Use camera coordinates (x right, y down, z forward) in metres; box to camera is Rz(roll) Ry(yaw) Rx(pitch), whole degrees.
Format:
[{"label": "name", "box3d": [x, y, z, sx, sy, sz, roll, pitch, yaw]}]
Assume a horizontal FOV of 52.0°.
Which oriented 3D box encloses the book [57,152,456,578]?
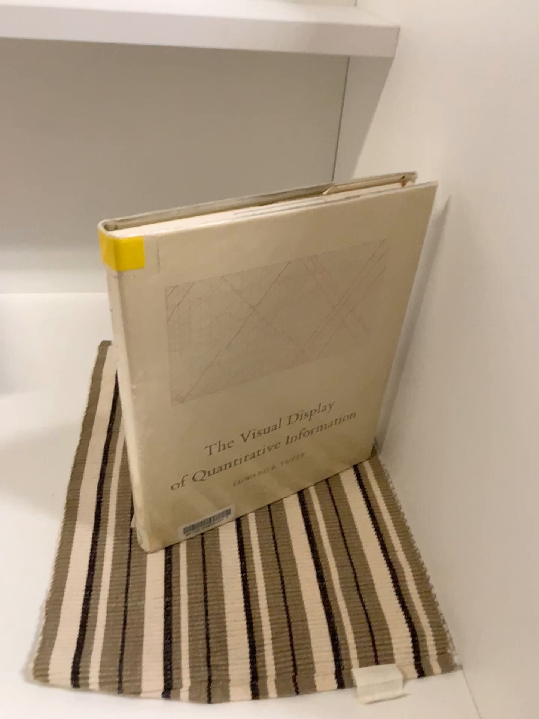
[{"label": "book", "box3d": [-0.001, 0.010, 0.415, 0.251, 0.287, 0.040, -17, 41, -26]}]
